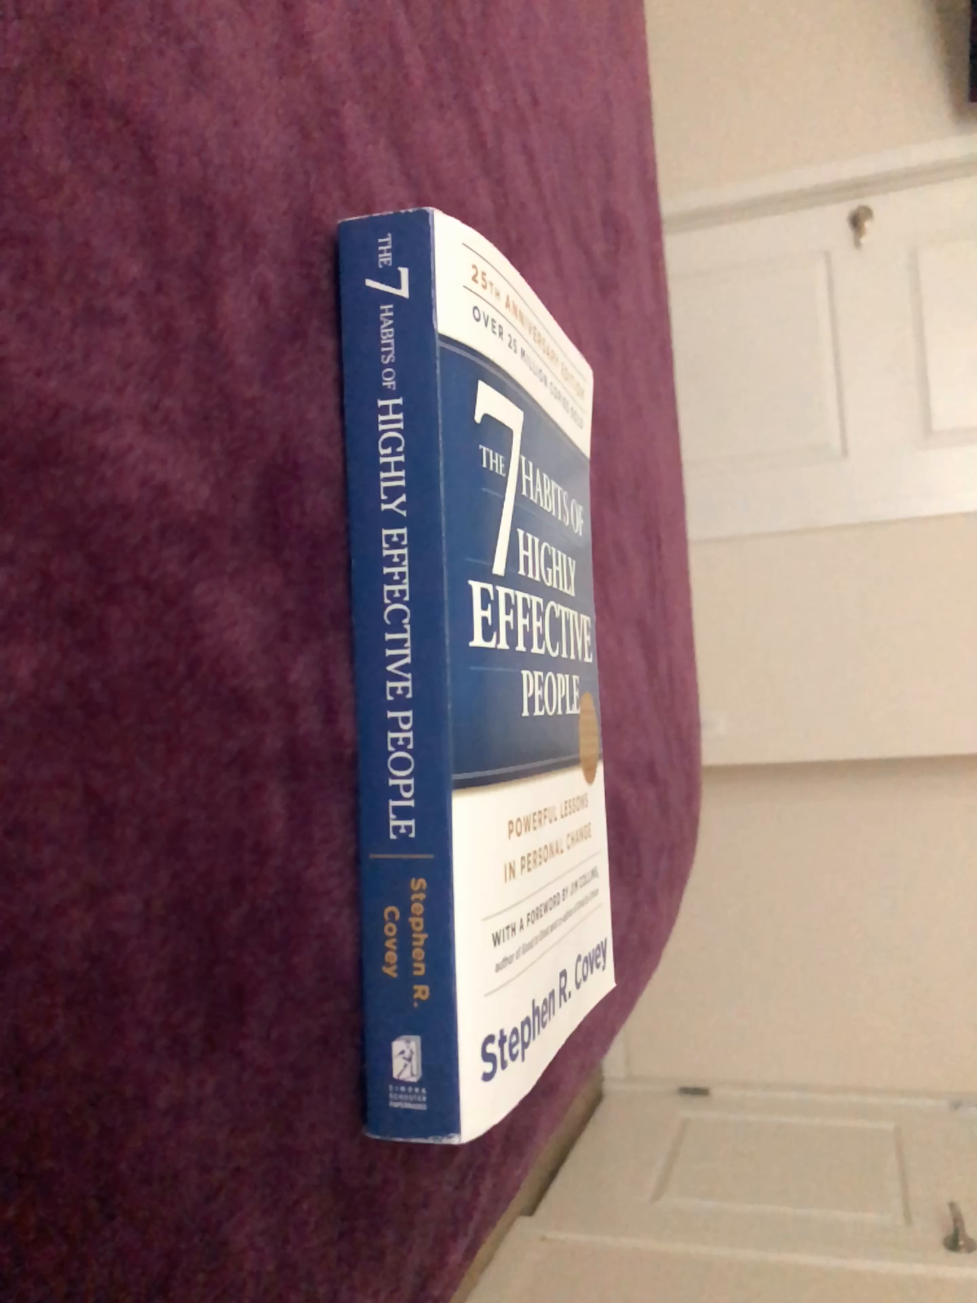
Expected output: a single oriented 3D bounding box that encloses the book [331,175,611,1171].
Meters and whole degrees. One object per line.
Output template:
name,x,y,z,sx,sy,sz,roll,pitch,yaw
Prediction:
book,0.002,0.006,0.311,0.147,0.028,0.217,9,79,-71
